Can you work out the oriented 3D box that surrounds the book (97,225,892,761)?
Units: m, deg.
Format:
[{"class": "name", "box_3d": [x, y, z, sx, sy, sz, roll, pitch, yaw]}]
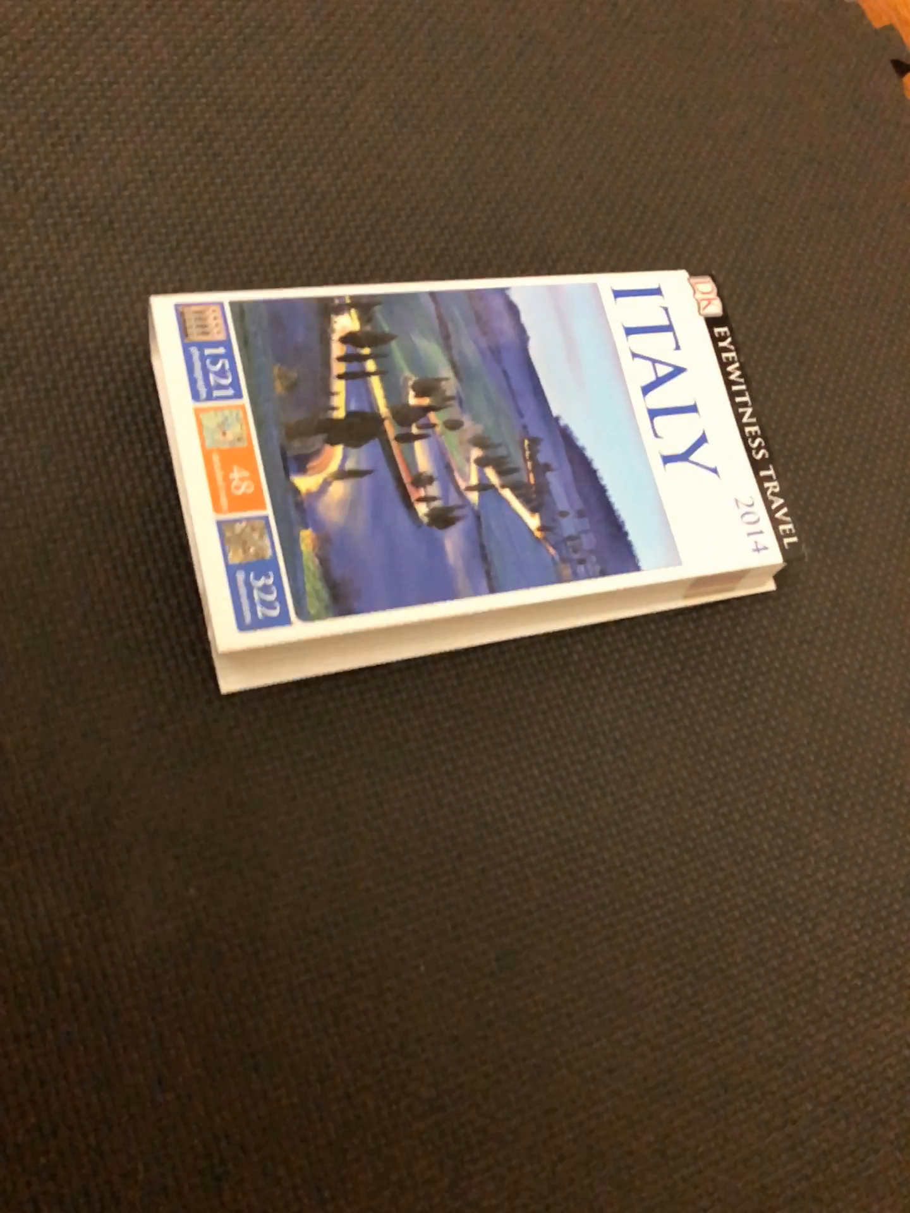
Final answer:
[{"class": "book", "box_3d": [0.017, -0.053, 0.361, 0.250, 0.040, 0.160, -10, 74, -20]}]
